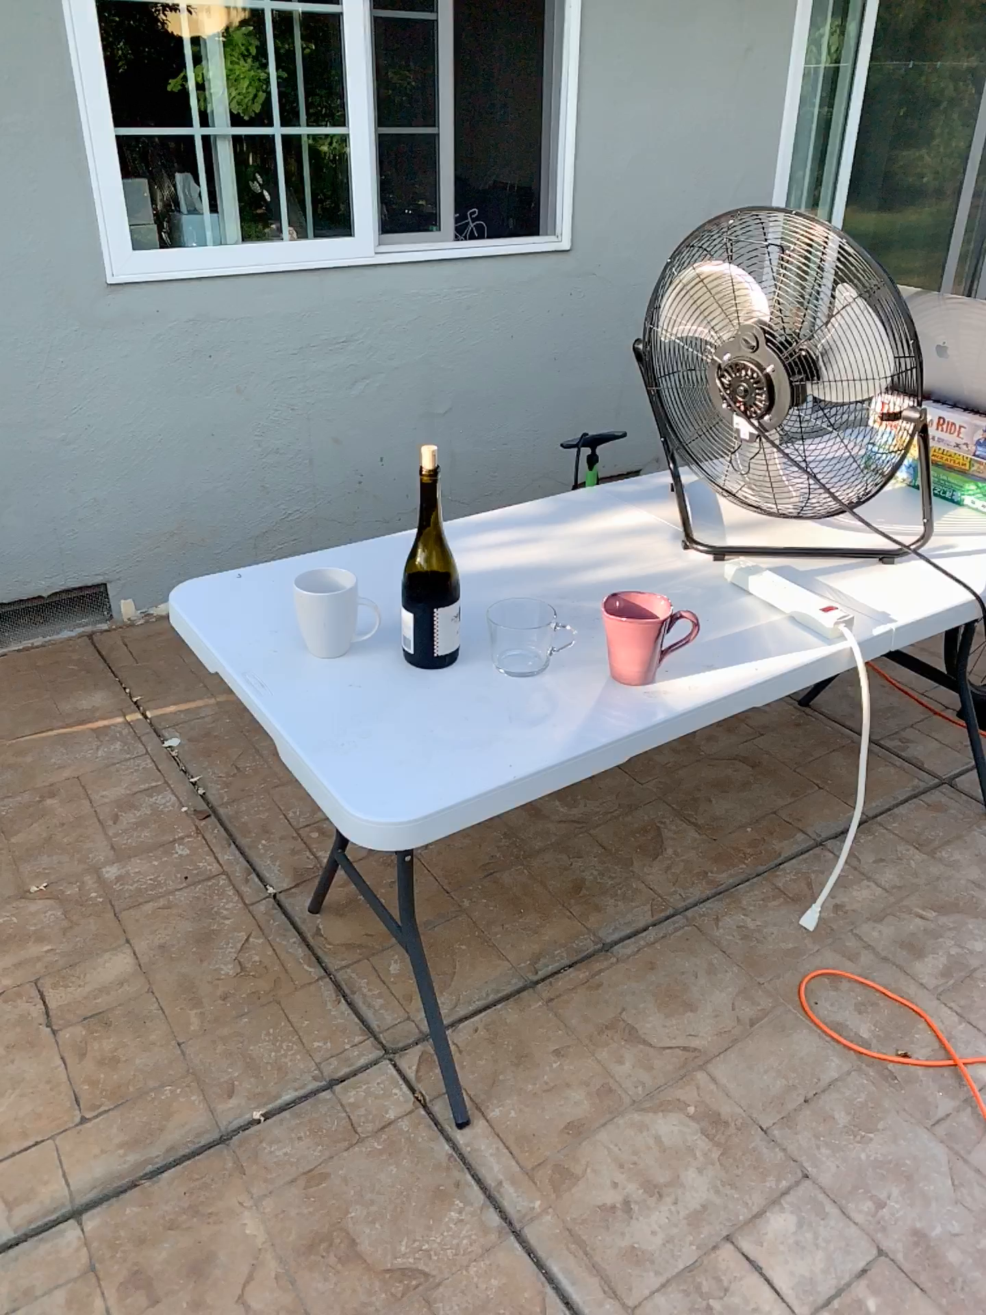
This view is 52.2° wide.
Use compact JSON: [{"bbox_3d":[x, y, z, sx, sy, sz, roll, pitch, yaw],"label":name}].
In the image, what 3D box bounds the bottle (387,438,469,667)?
[{"bbox_3d":[-0.087,-0.145,1.423,0.100,0.303,0.103,1,28,0],"label":"bottle"}]
